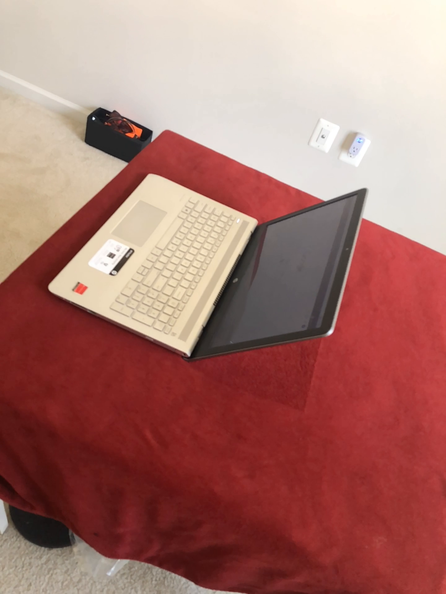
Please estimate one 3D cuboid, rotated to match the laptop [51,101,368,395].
[{"bbox_3d":[-0.005,-0.104,0.804,0.395,0.158,0.362,24,47,3],"label":"laptop"}]
